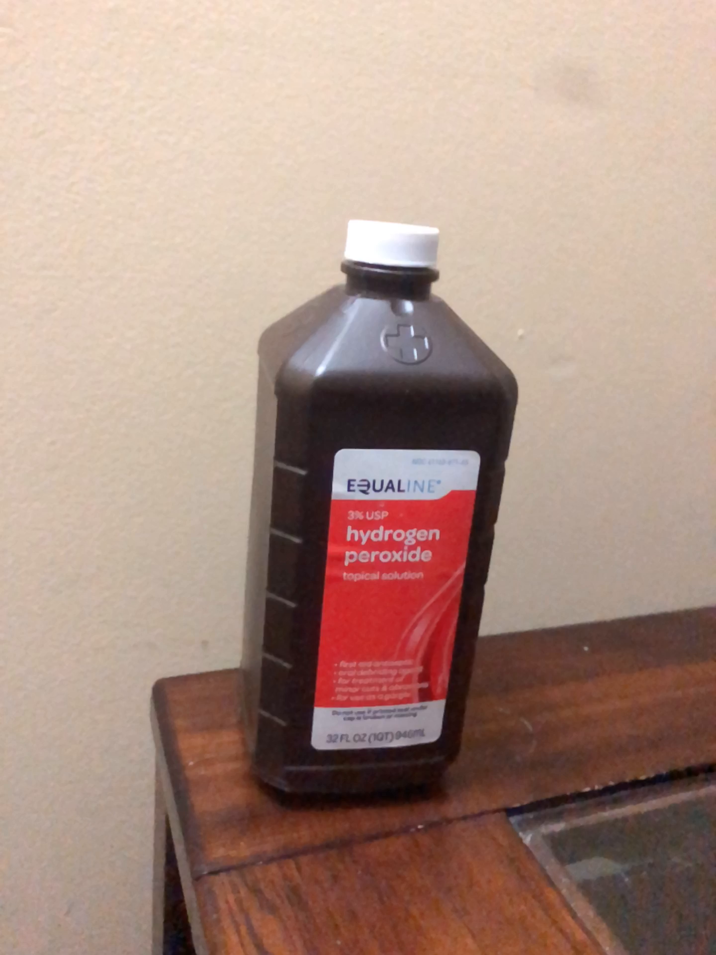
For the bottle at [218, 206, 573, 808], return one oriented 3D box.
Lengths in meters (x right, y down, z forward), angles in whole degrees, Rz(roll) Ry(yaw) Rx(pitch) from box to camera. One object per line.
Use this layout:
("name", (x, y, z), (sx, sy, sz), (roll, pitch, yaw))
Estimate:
("bottle", (0.001, 0.008, 0.286), (0.090, 0.190, 0.080), (0, 20, -14))
